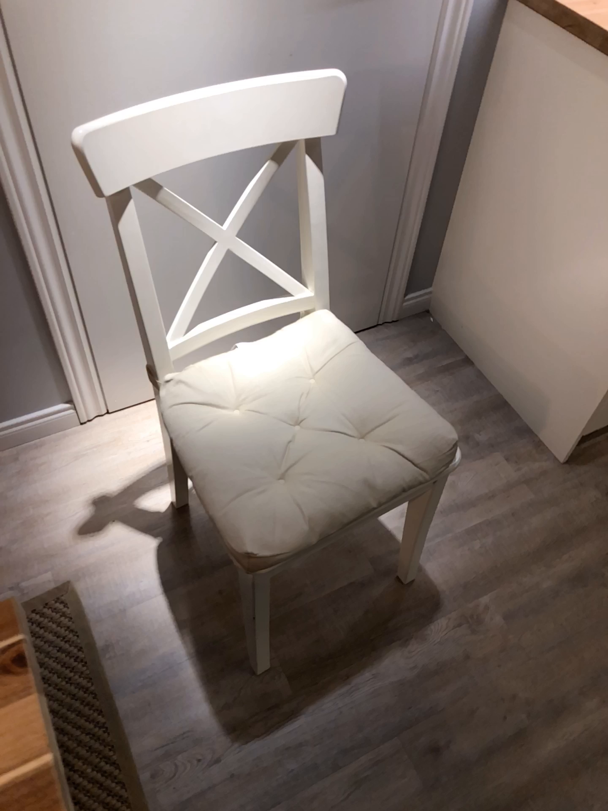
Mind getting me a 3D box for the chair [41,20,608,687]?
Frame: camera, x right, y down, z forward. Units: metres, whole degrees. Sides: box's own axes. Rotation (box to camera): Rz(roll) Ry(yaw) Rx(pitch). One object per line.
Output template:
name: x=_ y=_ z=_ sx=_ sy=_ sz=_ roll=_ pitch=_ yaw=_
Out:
chair: x=-0.012 y=-0.023 z=1.080 sx=0.451 sy=0.875 sz=0.512 roll=-25 pitch=57 yaw=-22
